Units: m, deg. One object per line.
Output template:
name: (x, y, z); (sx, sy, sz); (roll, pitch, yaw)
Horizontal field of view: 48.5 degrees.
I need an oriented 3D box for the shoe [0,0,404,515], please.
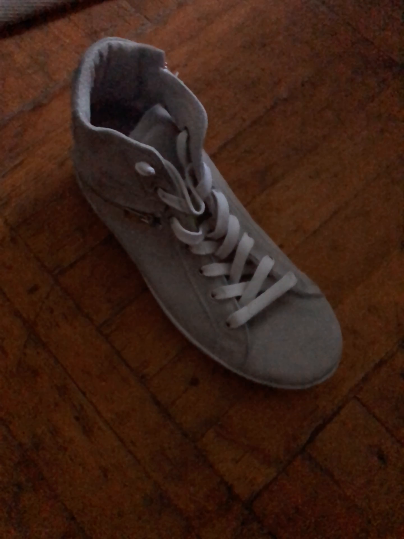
shoe: (0.005, -0.021, 0.348); (0.130, 0.220, 0.310); (-37, 76, -6)
